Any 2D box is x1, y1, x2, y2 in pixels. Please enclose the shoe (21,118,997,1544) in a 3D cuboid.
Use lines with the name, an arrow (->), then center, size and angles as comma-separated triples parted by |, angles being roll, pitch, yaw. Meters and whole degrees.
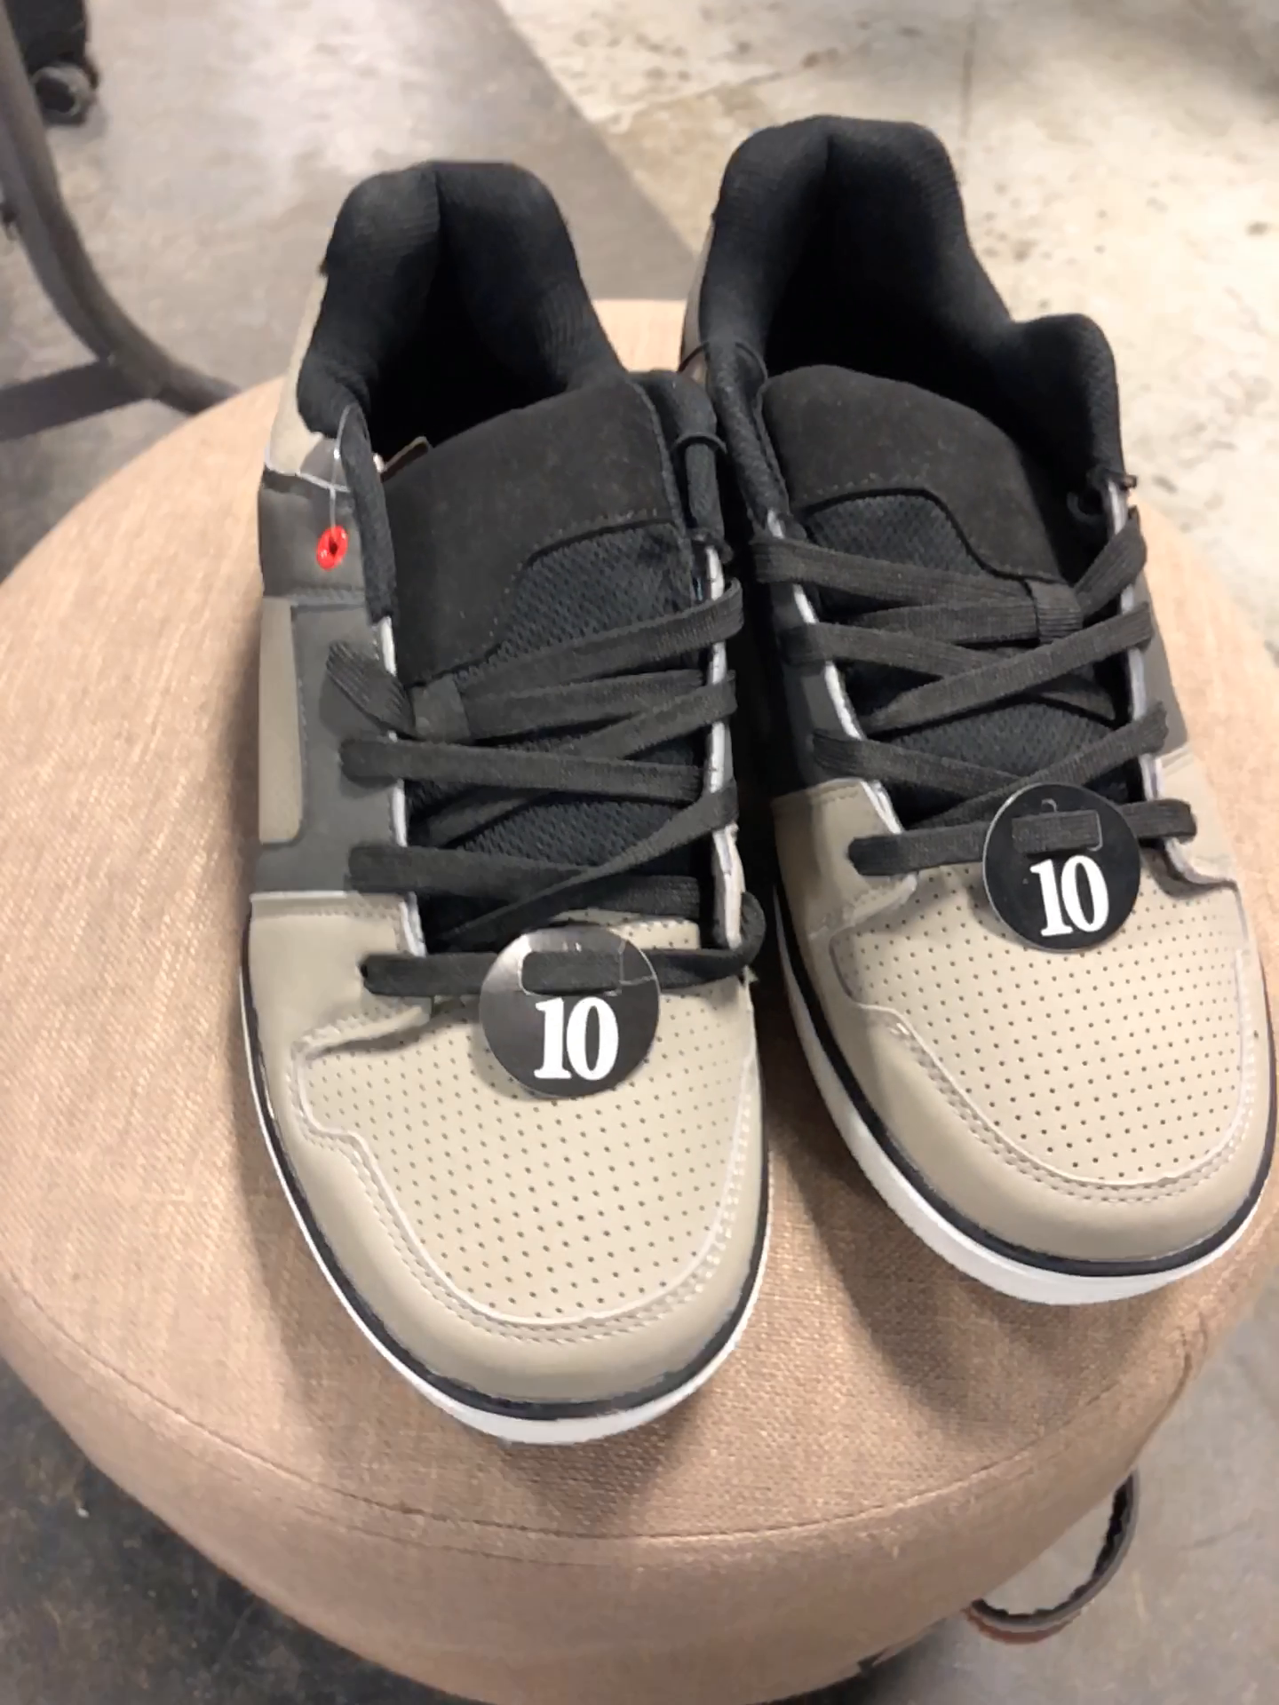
shoe -> -0.033, -0.017, 0.294 | 0.120, 0.119, 0.262 | -7, 58, -5

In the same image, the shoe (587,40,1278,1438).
shoe -> 0.075, -0.049, 0.328 | 0.120, 0.099, 0.312 | -9, 58, -6
